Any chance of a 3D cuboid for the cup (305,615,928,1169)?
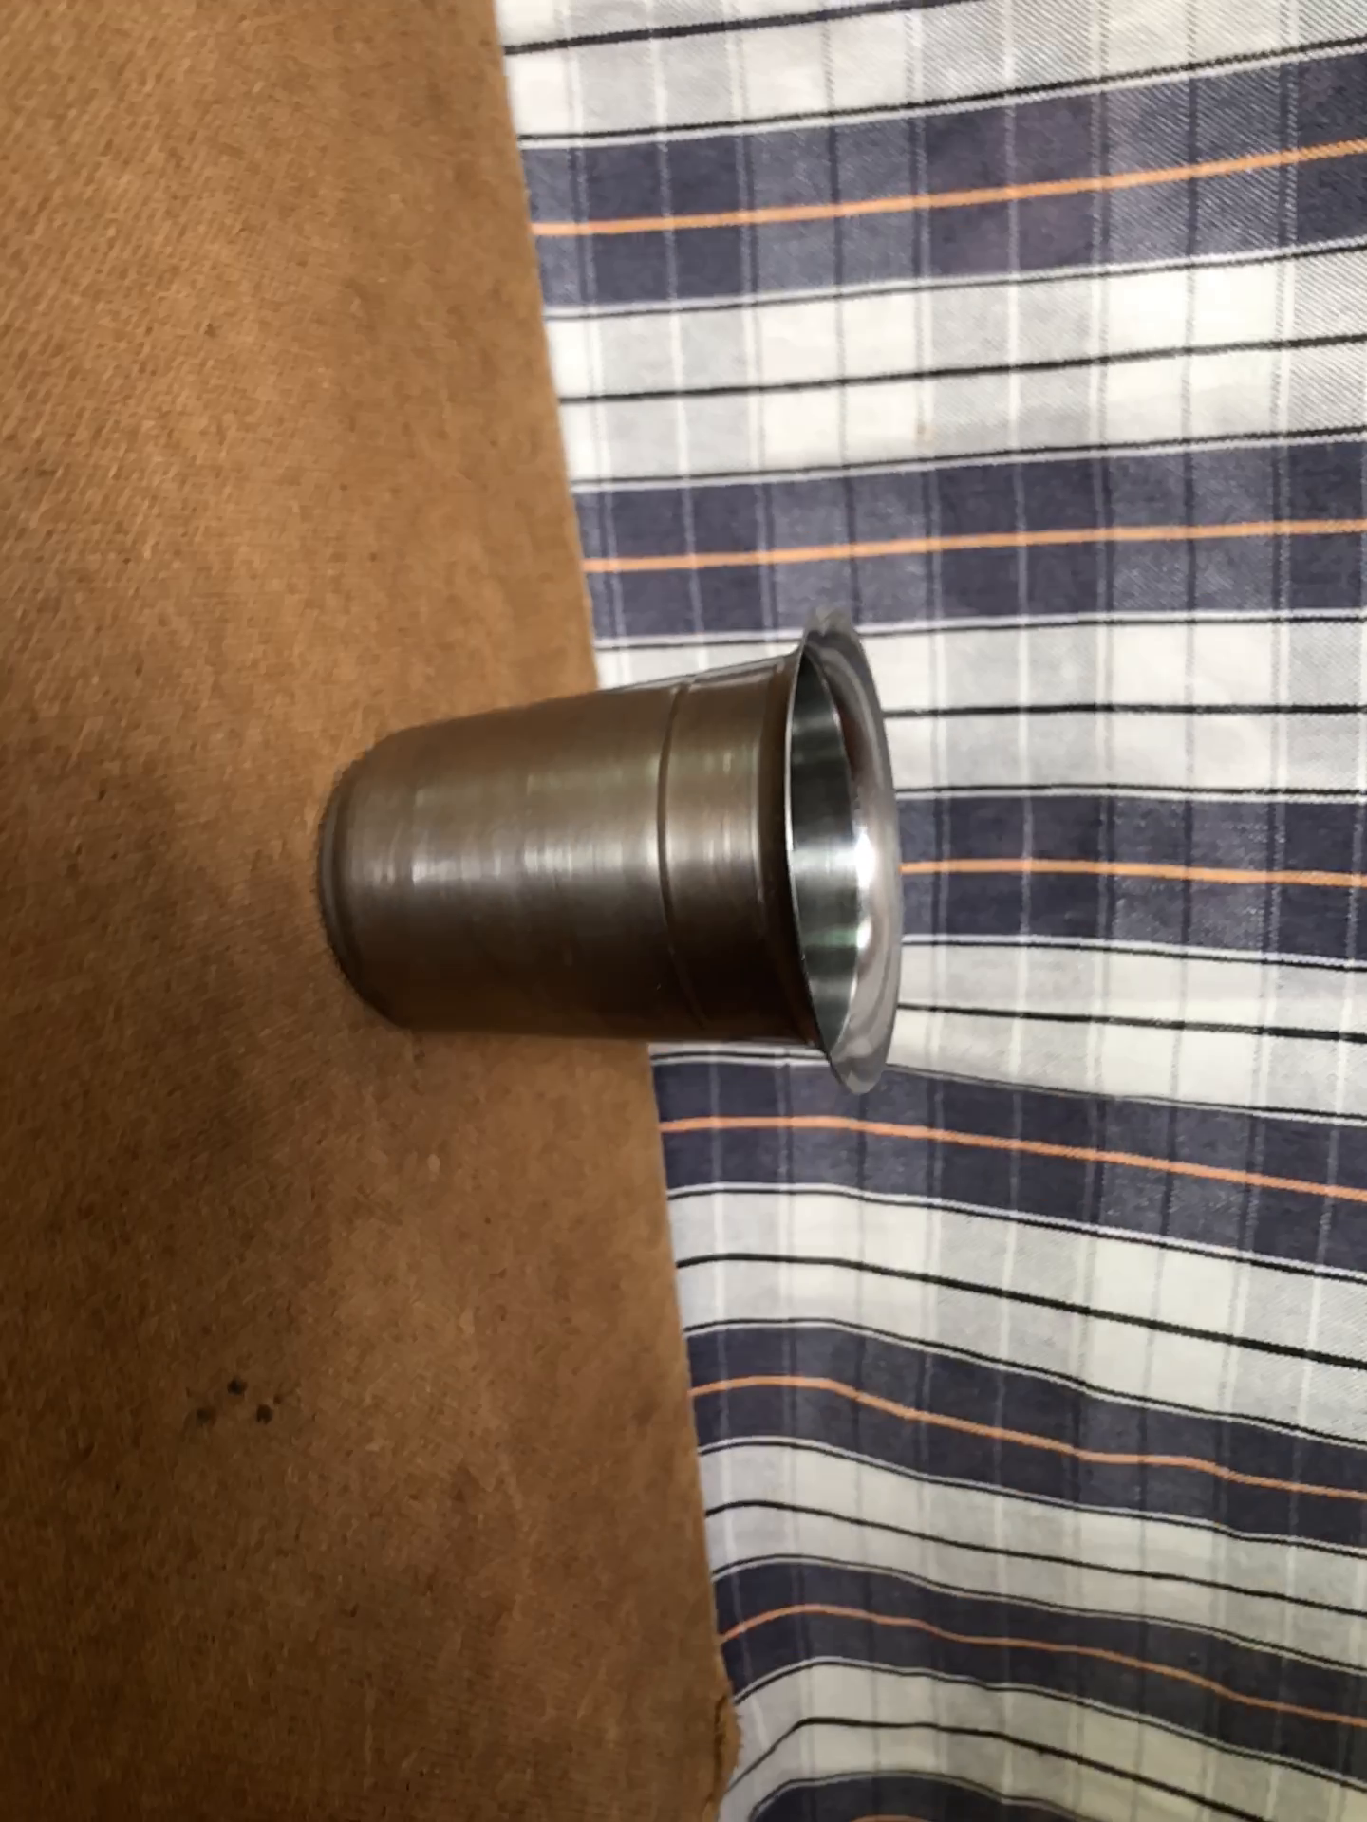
[{"bbox_3d":[-0.006,0.003,0.256,0.070,0.080,0.070,-4,90,-72],"label":"cup"}]
